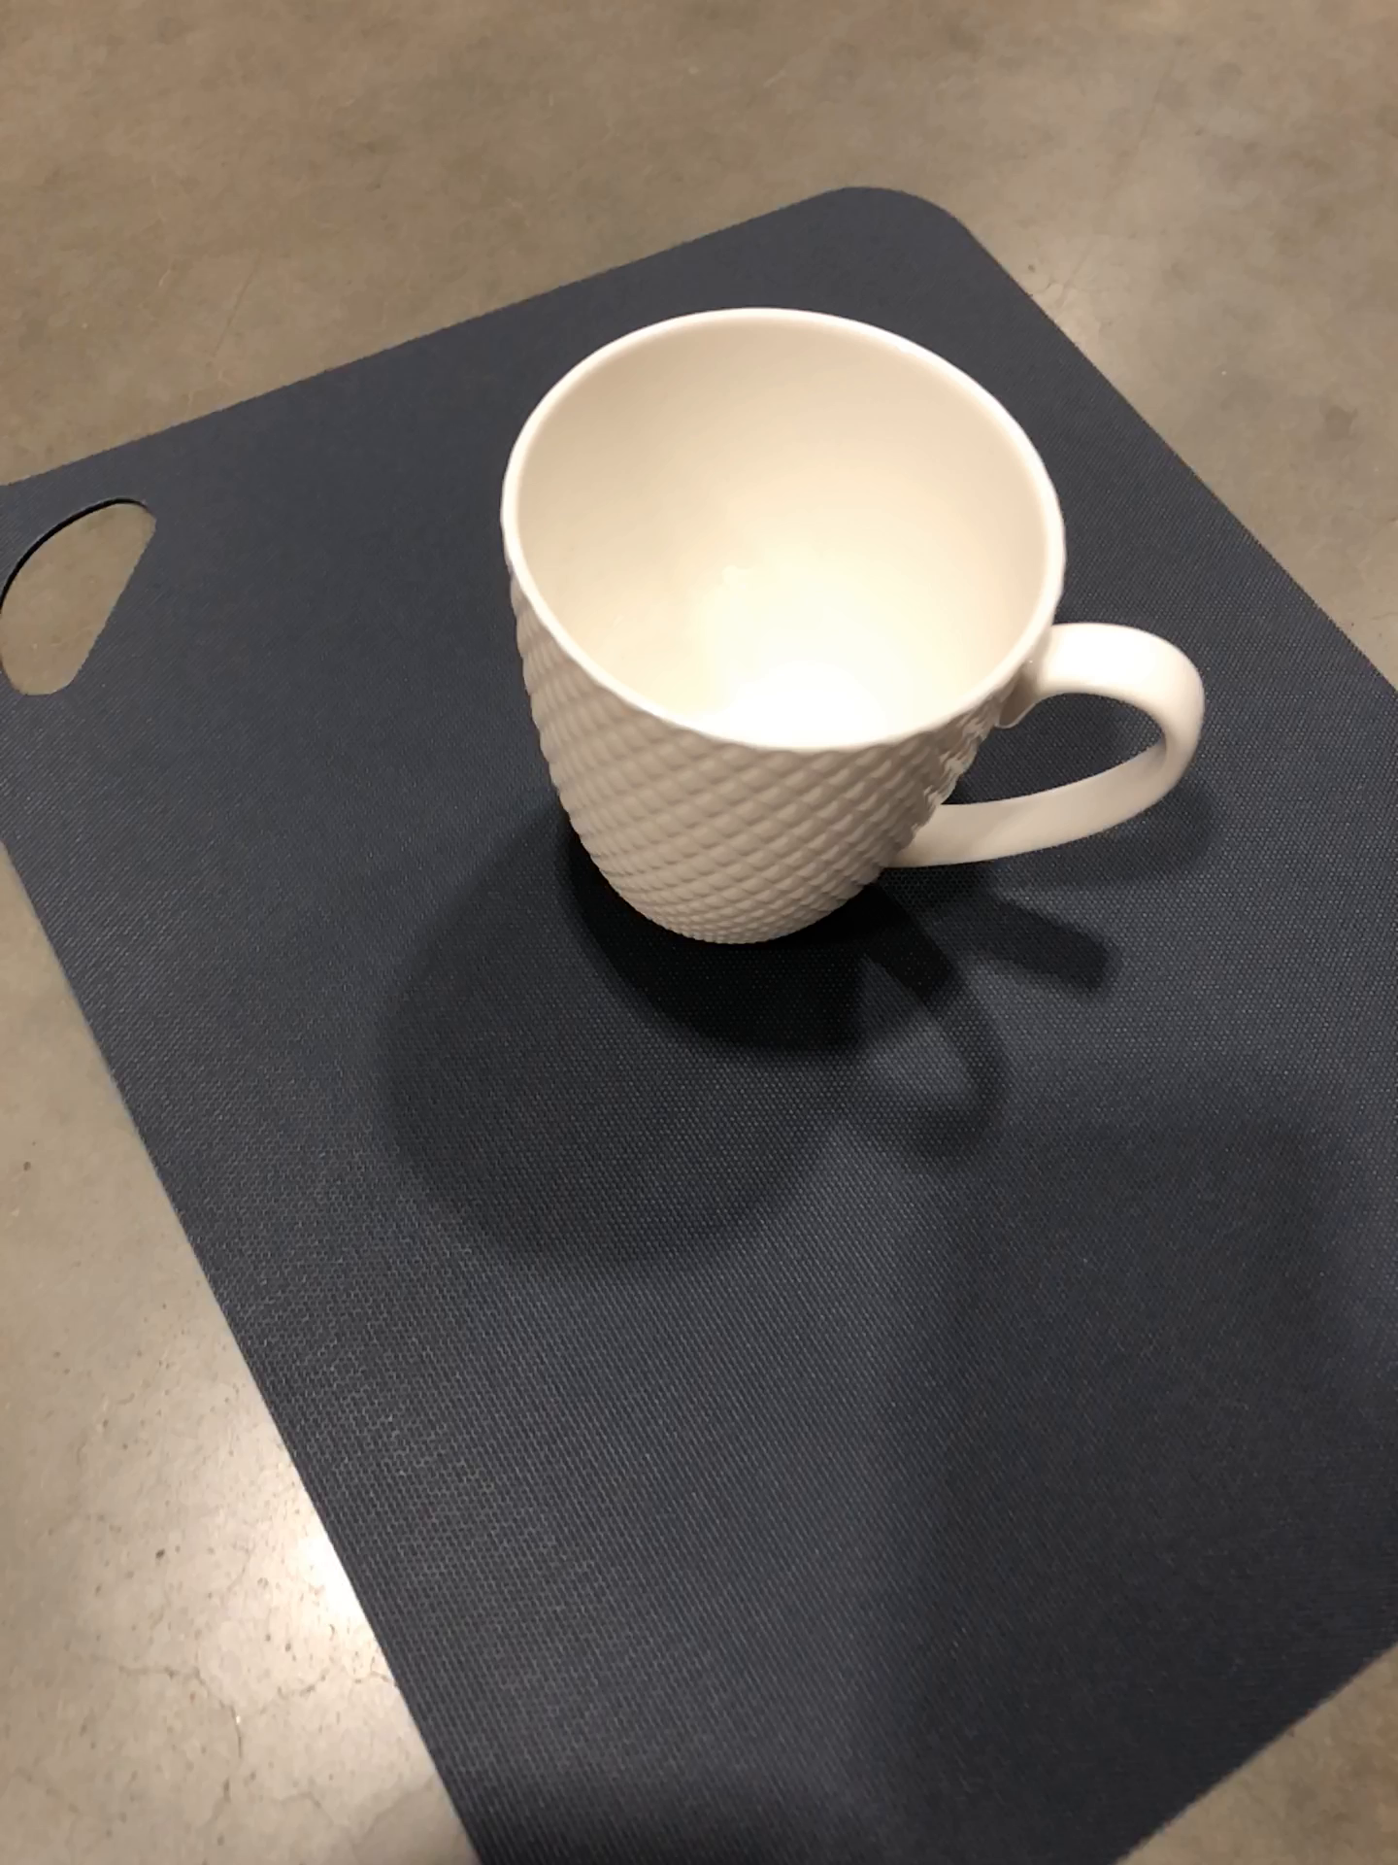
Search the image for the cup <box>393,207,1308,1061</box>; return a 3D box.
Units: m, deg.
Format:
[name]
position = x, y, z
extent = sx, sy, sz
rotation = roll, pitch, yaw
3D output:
[cup]
position = 0.026, -0.052, 0.289
extent = 0.130, 0.090, 0.090
rotation = 16, 63, 4
